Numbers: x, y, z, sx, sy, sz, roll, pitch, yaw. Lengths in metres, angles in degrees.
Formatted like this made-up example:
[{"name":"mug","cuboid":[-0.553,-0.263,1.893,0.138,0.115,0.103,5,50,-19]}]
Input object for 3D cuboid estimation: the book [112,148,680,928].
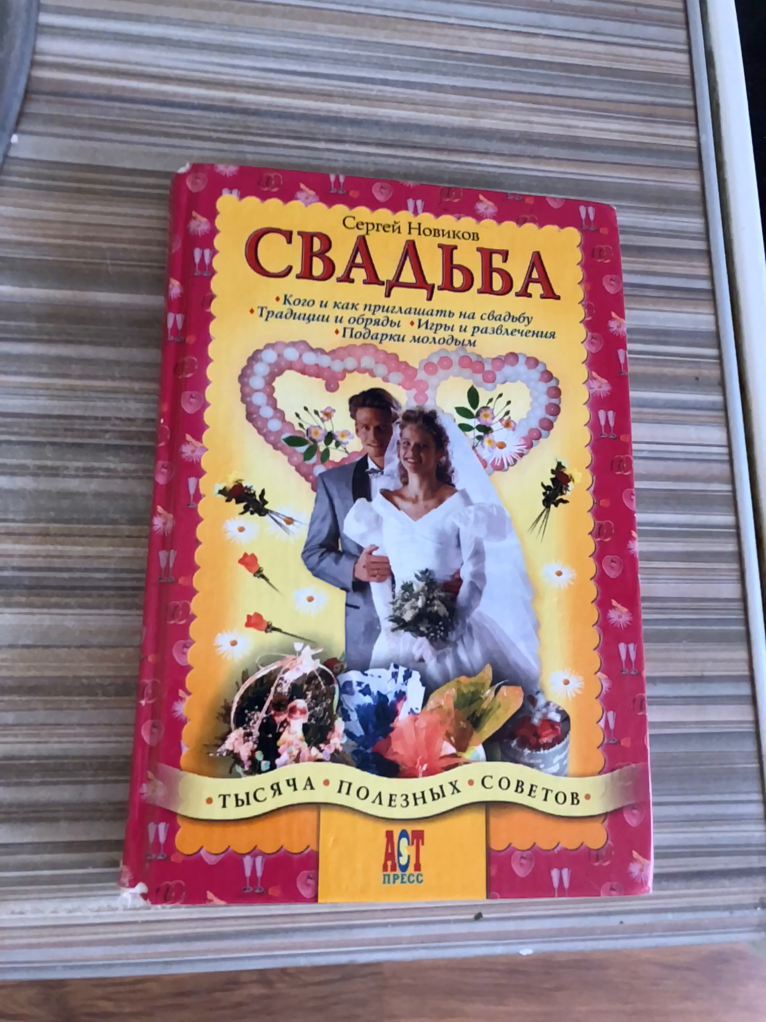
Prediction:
[{"name":"book","cuboid":[0.006,0.001,0.256,0.150,0.020,0.220,2,76,-9]}]
